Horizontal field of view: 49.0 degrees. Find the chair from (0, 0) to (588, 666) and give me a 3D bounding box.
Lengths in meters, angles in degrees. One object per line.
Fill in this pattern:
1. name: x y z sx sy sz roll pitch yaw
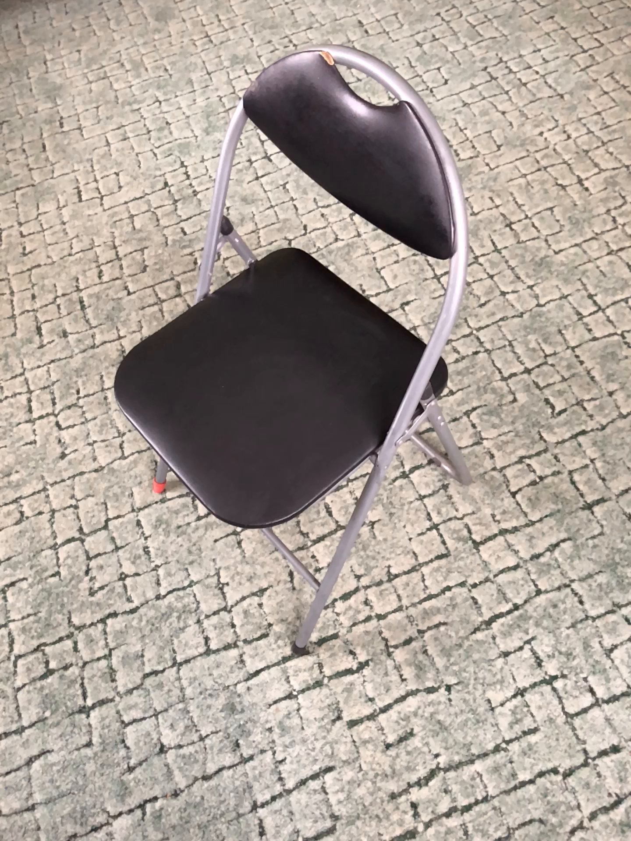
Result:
1. chair: -0.033 -0.061 1.014 0.475 0.733 0.457 -38 63 -17
